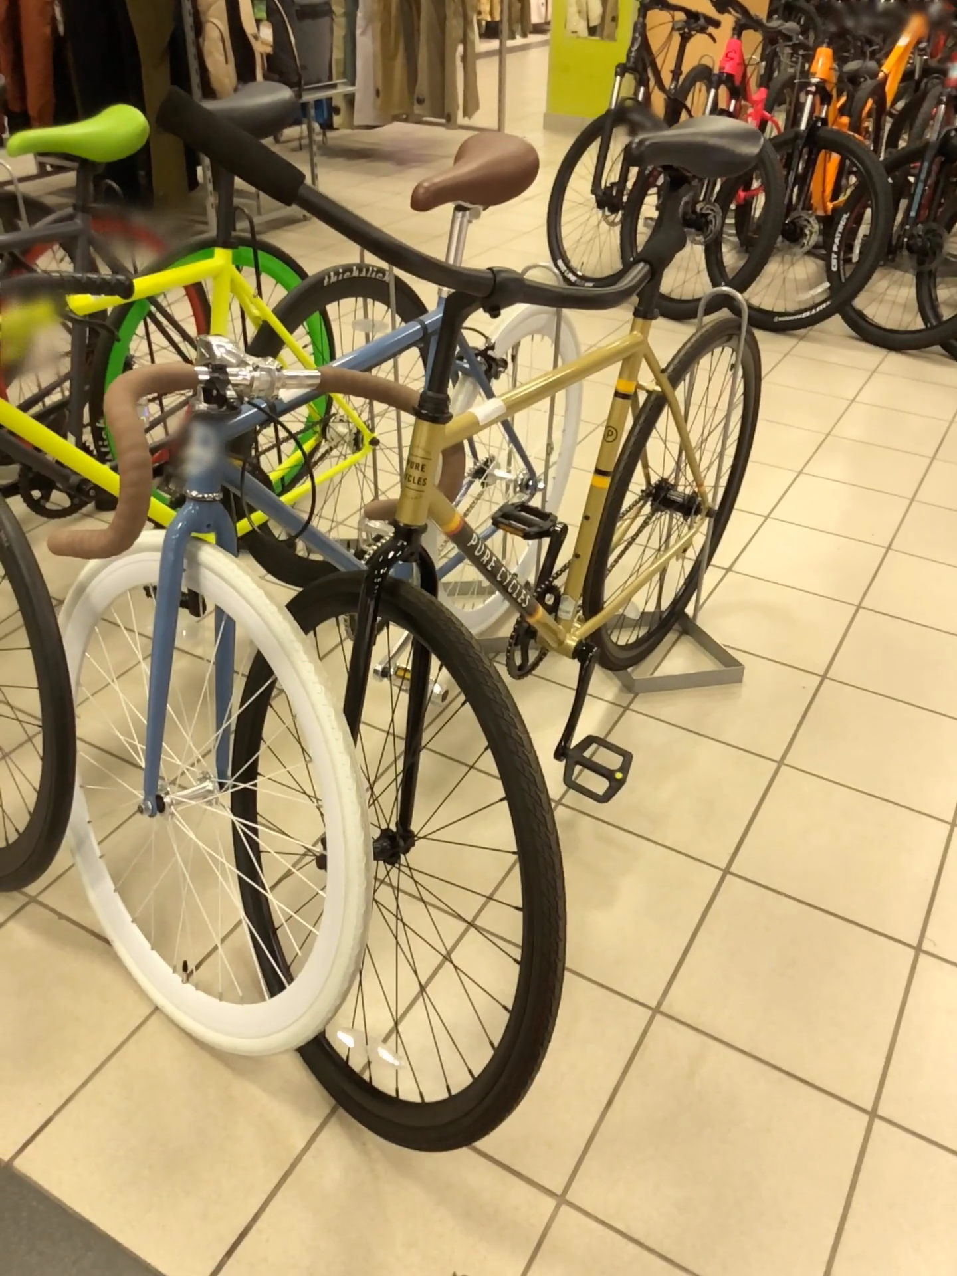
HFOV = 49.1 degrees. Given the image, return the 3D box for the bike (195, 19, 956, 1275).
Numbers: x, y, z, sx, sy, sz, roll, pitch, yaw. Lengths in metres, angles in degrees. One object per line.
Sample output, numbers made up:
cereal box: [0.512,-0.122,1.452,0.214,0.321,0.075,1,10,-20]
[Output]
bike: [0.294,-0.089,1.529,0.672,1.091,1.471,12,40,16]
